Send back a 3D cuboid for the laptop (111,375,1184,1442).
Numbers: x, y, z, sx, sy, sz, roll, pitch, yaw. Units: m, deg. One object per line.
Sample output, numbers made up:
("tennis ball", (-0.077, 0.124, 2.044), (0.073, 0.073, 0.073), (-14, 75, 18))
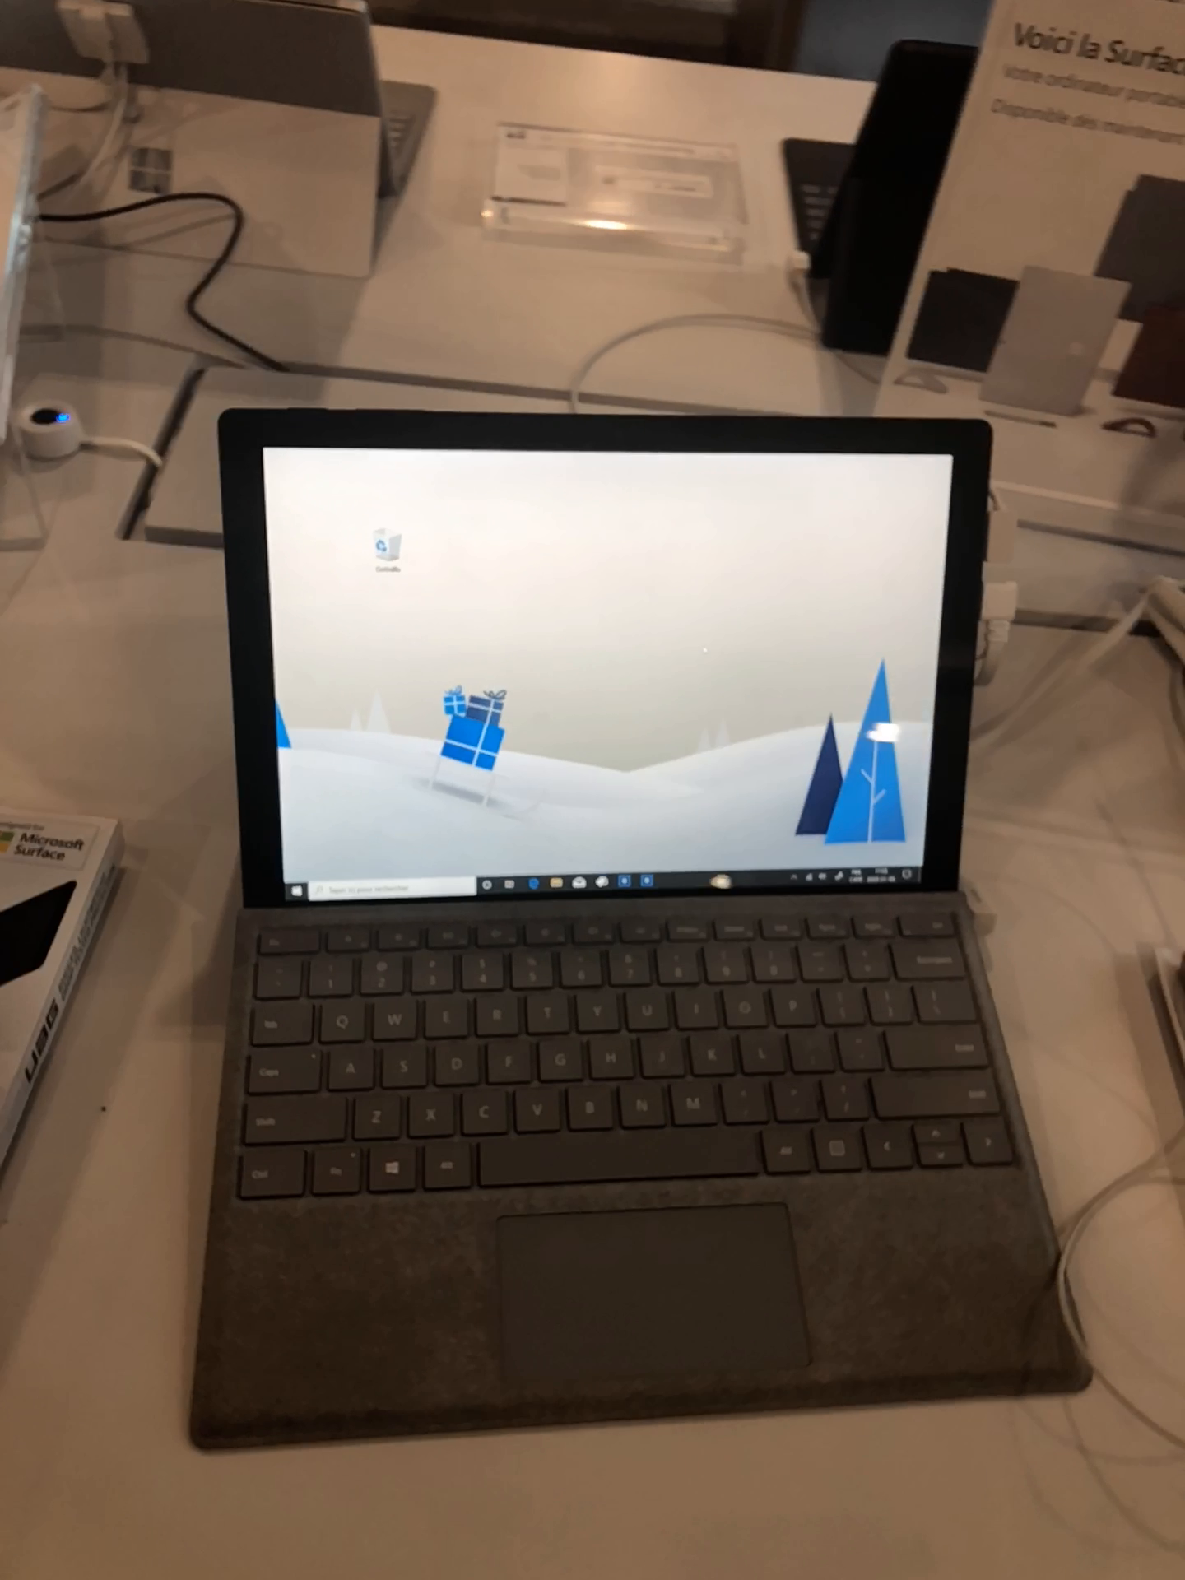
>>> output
("laptop", (0.016, 0.025, 0.452), (0.285, 0.150, 0.308), (0, 53, -8))
